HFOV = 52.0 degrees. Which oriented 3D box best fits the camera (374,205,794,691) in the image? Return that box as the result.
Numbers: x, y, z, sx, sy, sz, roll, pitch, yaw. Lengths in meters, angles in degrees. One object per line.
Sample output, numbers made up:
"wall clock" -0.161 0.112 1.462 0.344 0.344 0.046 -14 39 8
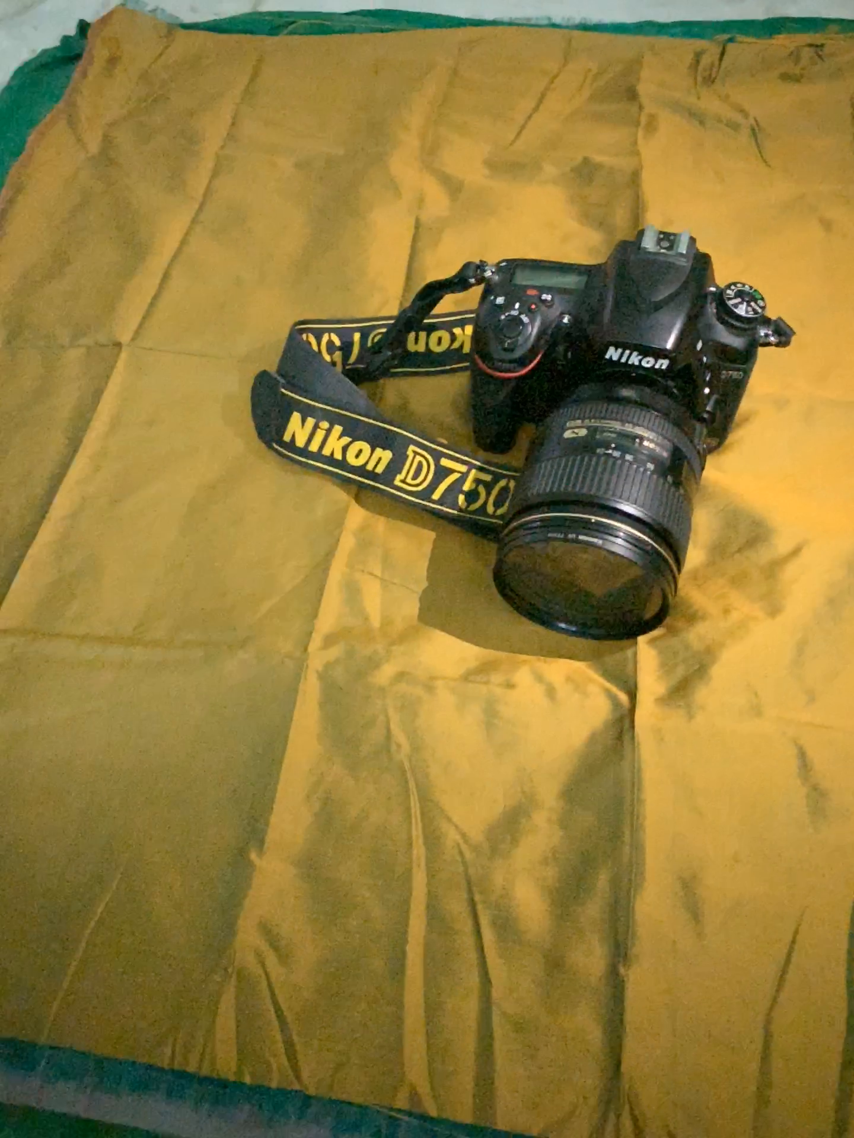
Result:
"camera" 0.079 -0.064 0.421 0.150 0.101 0.190 11 58 10
